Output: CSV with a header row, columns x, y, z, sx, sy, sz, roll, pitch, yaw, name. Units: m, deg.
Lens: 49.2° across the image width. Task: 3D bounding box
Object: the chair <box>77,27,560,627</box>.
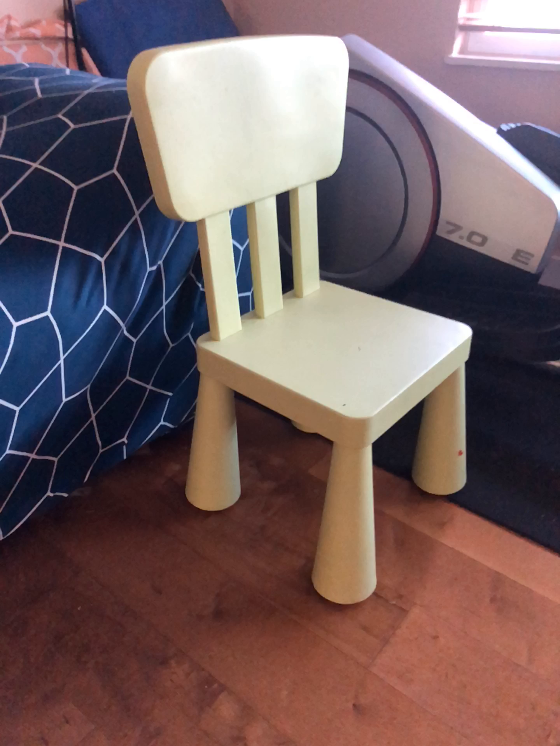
x,y,z,sx,sy,sz,roll,pitch,yaw,name
0.060,-0.103,0.840,0.411,0.636,0.392,22,36,31,chair
